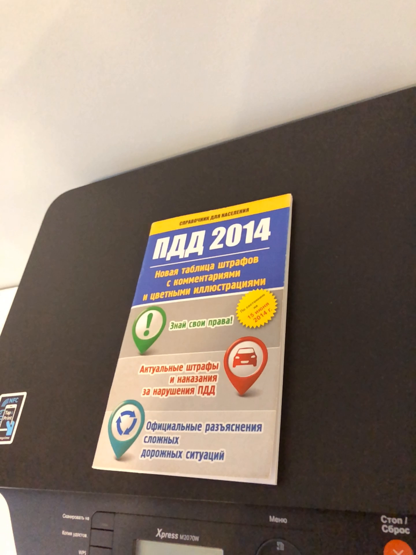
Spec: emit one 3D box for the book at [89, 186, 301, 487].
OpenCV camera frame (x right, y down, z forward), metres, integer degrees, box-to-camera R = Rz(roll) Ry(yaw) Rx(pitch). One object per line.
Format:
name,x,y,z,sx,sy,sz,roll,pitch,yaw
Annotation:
book,-0.003,0.030,0.316,0.130,0.010,0.201,-9,56,26
